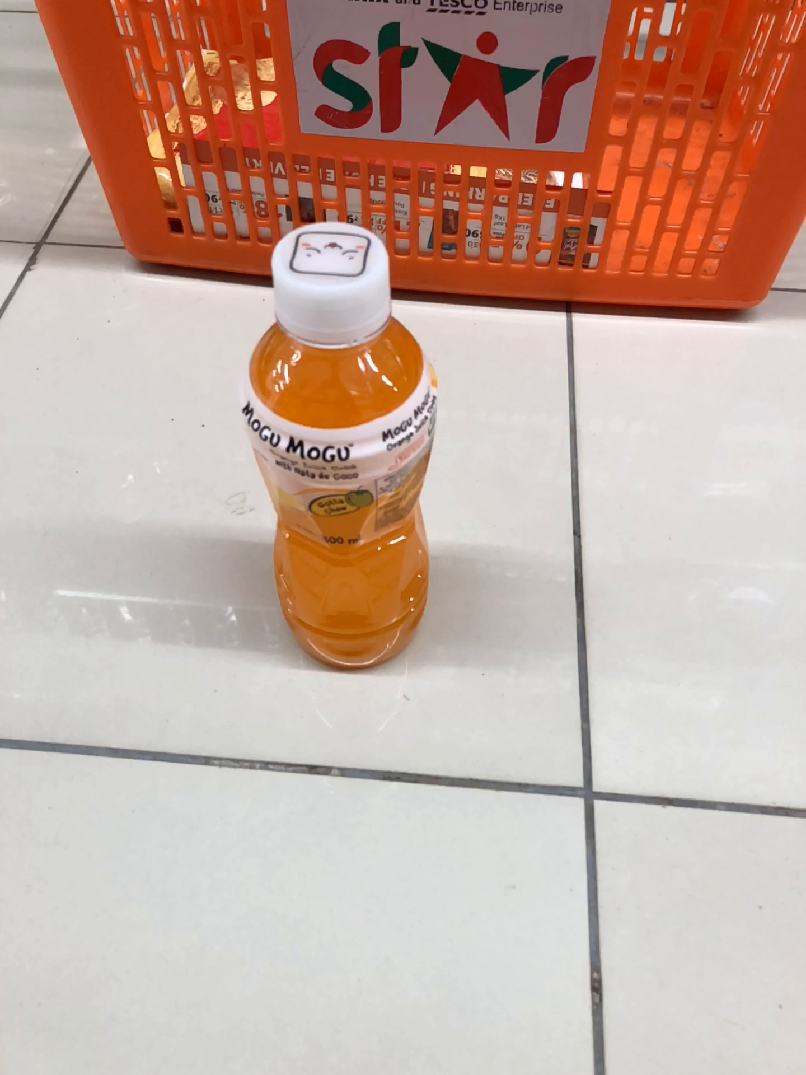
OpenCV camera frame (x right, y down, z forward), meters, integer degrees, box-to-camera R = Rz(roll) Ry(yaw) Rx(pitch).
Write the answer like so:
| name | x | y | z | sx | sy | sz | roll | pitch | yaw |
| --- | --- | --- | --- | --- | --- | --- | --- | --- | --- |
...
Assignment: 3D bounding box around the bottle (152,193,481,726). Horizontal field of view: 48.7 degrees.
| name | x | y | z | sx | sy | sz | roll | pitch | yaw |
| --- | --- | --- | --- | --- | --- | --- | --- | --- | --- |
| bottle | -0.020 | -0.012 | 0.275 | 0.060 | 0.159 | 0.050 | 29 | 58 | 20 |
